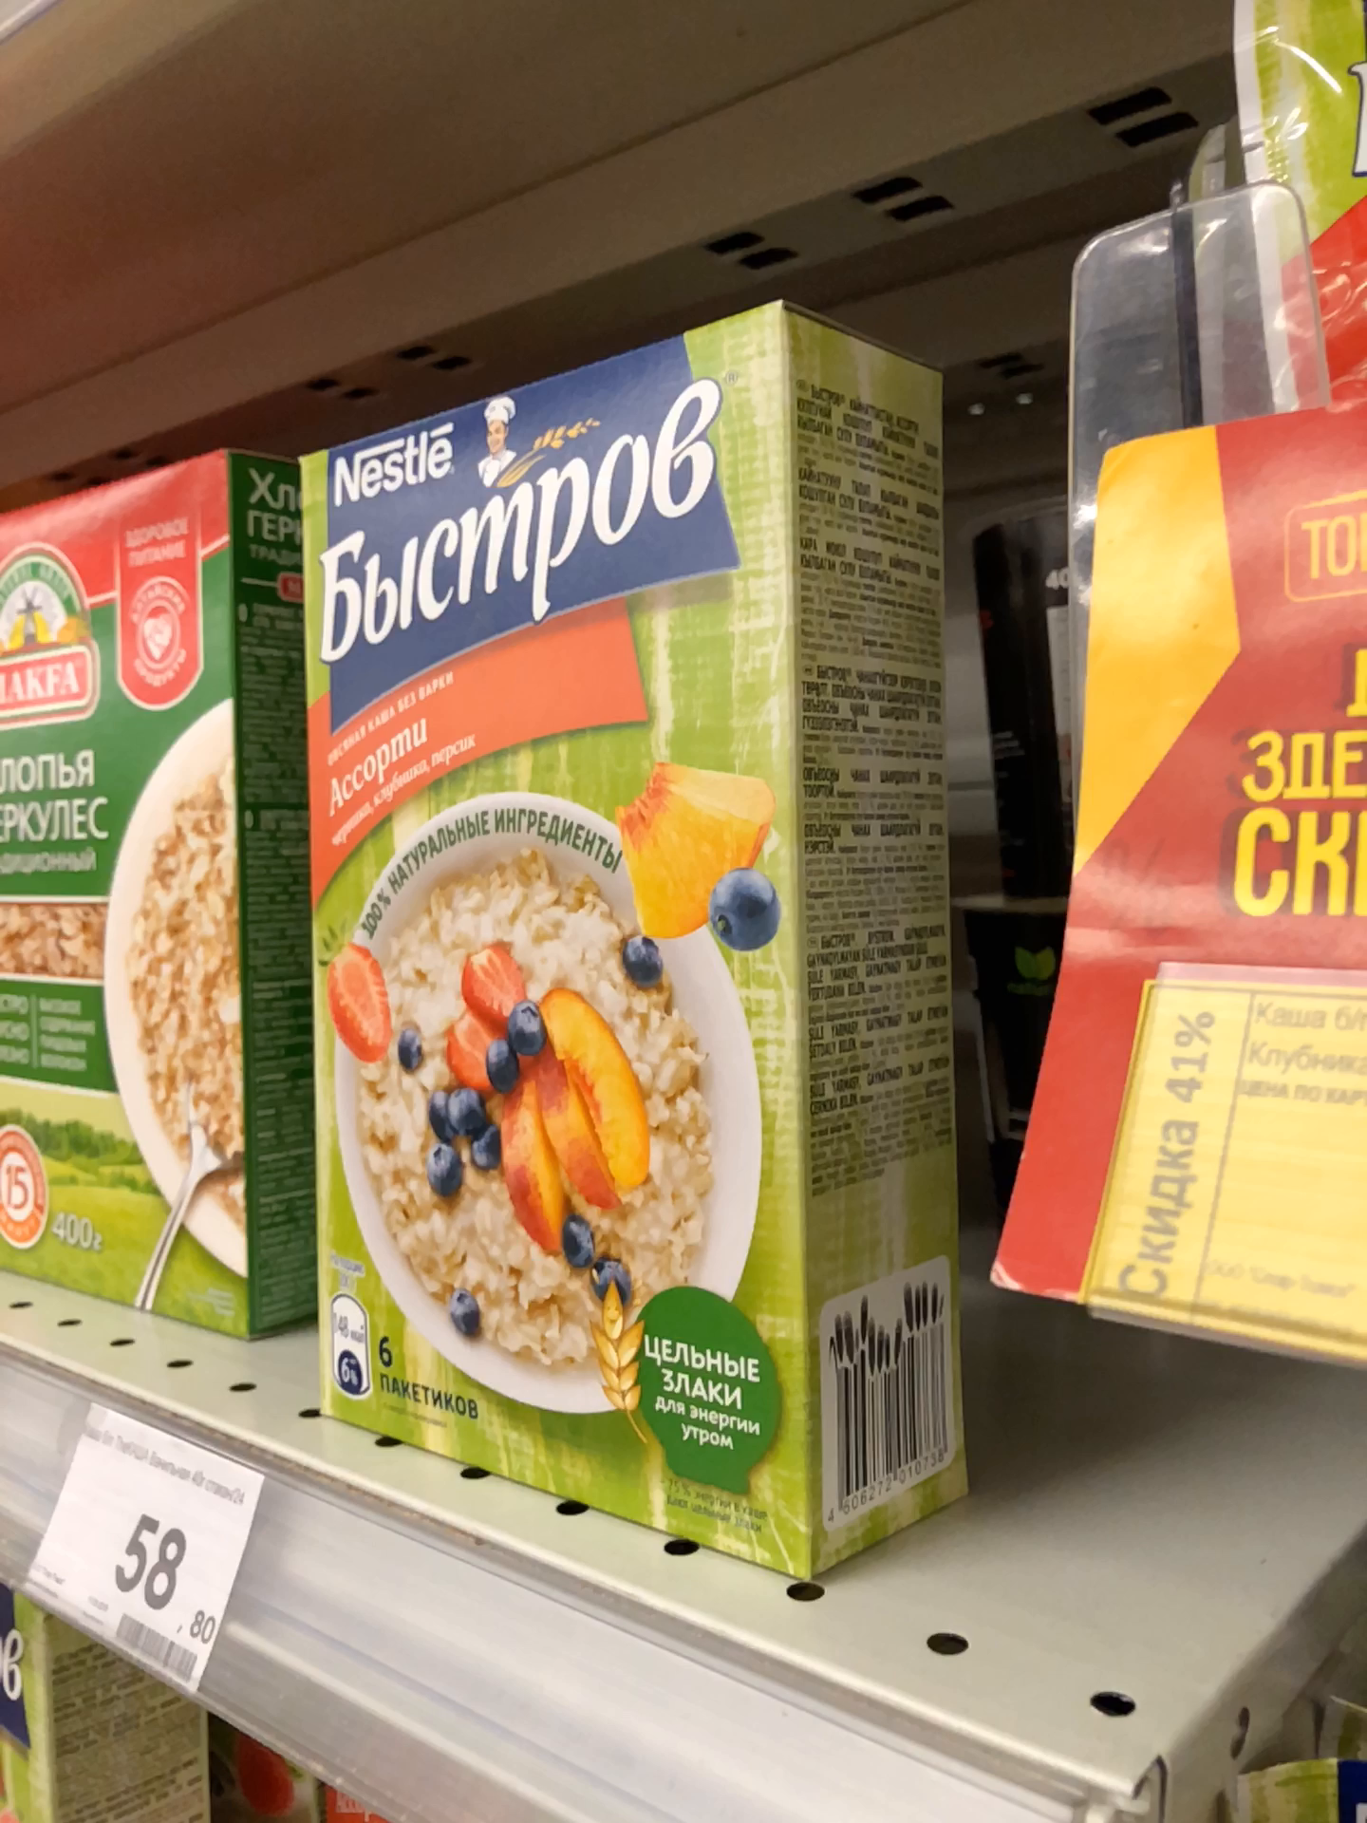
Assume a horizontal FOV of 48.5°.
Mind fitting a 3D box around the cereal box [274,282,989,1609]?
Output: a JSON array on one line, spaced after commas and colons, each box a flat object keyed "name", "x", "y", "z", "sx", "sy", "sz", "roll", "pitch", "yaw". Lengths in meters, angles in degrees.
[{"name": "cereal box", "x": -0.015, "y": 0.005, "z": 0.290, "sx": 0.130, "sy": 0.200, "sz": 0.050, "roll": -1, "pitch": 1, "yaw": 41}]
